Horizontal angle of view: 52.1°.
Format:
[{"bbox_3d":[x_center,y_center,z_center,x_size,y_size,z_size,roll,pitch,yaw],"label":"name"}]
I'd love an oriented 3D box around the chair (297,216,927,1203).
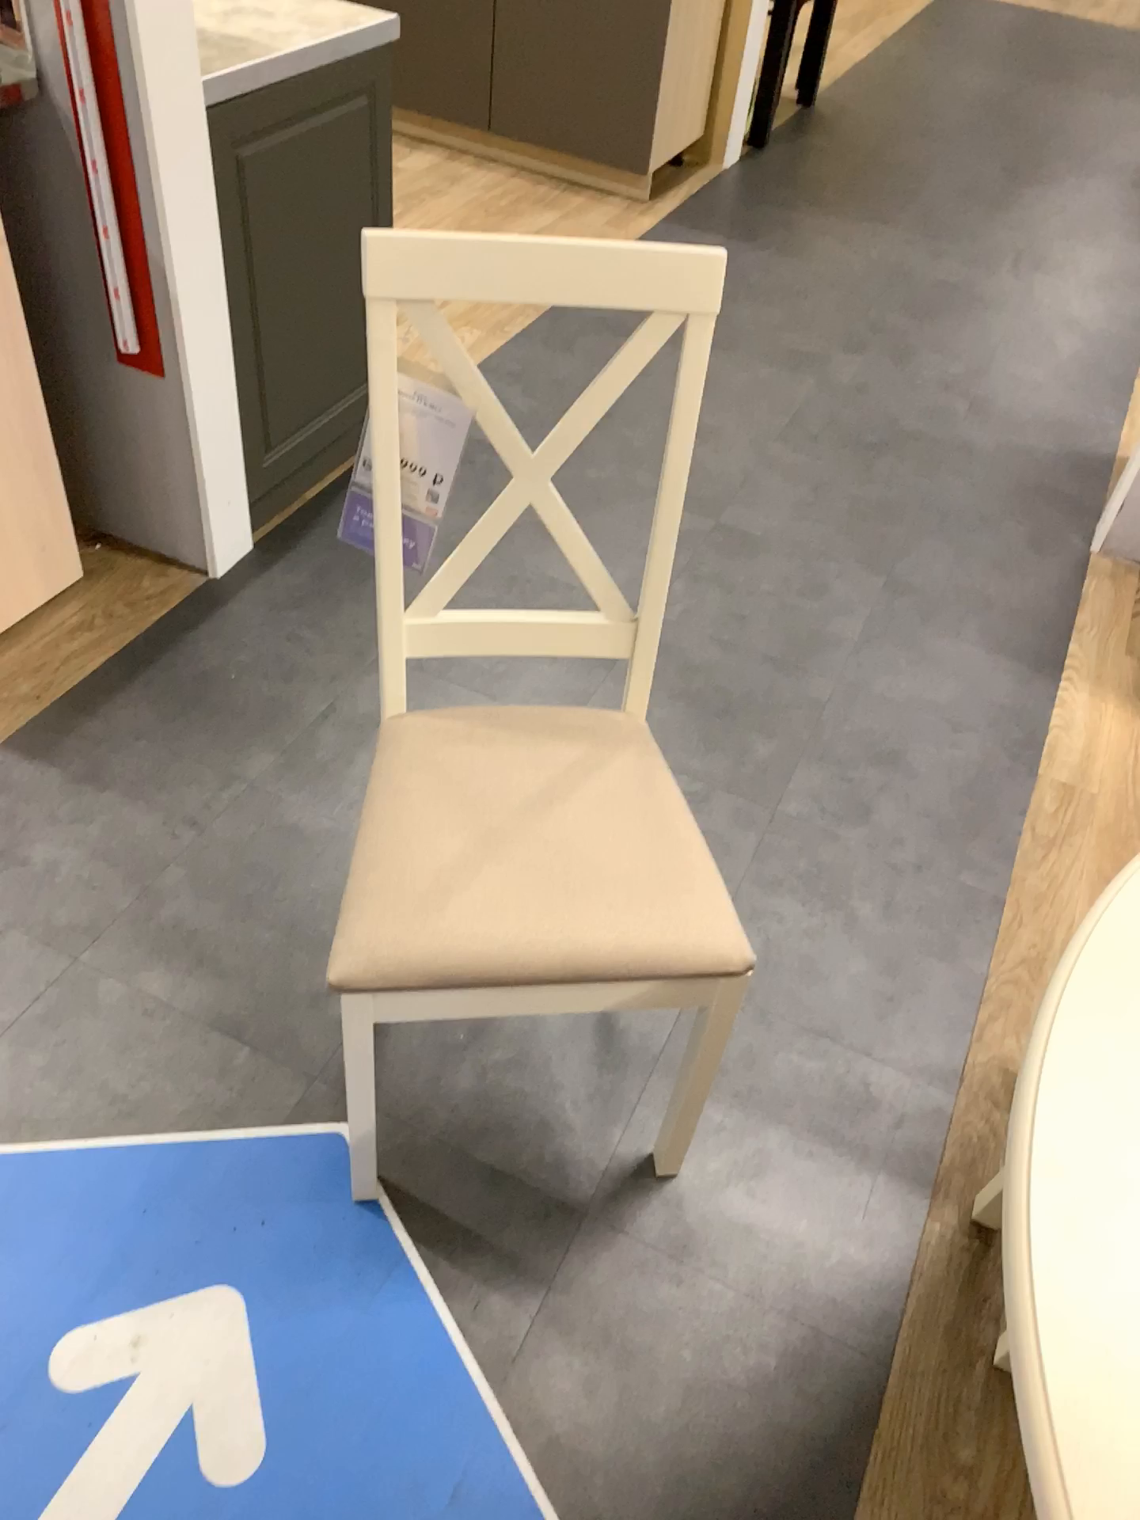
[{"bbox_3d":[-0.043,0.010,1.321,0.435,0.989,0.530,-1,45,-9],"label":"chair"}]
